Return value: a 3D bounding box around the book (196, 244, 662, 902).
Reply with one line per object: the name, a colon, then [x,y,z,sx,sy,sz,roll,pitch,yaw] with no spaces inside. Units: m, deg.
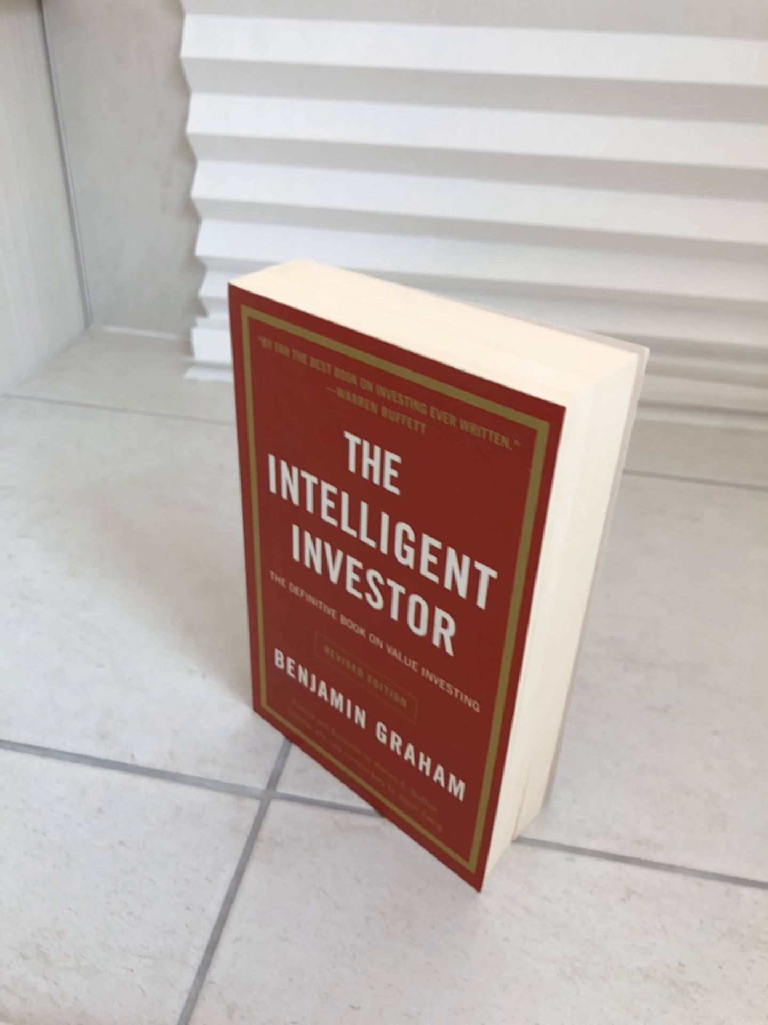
book: [0.005,0.021,0.332,0.149,0.206,0.057,27,40,35]
